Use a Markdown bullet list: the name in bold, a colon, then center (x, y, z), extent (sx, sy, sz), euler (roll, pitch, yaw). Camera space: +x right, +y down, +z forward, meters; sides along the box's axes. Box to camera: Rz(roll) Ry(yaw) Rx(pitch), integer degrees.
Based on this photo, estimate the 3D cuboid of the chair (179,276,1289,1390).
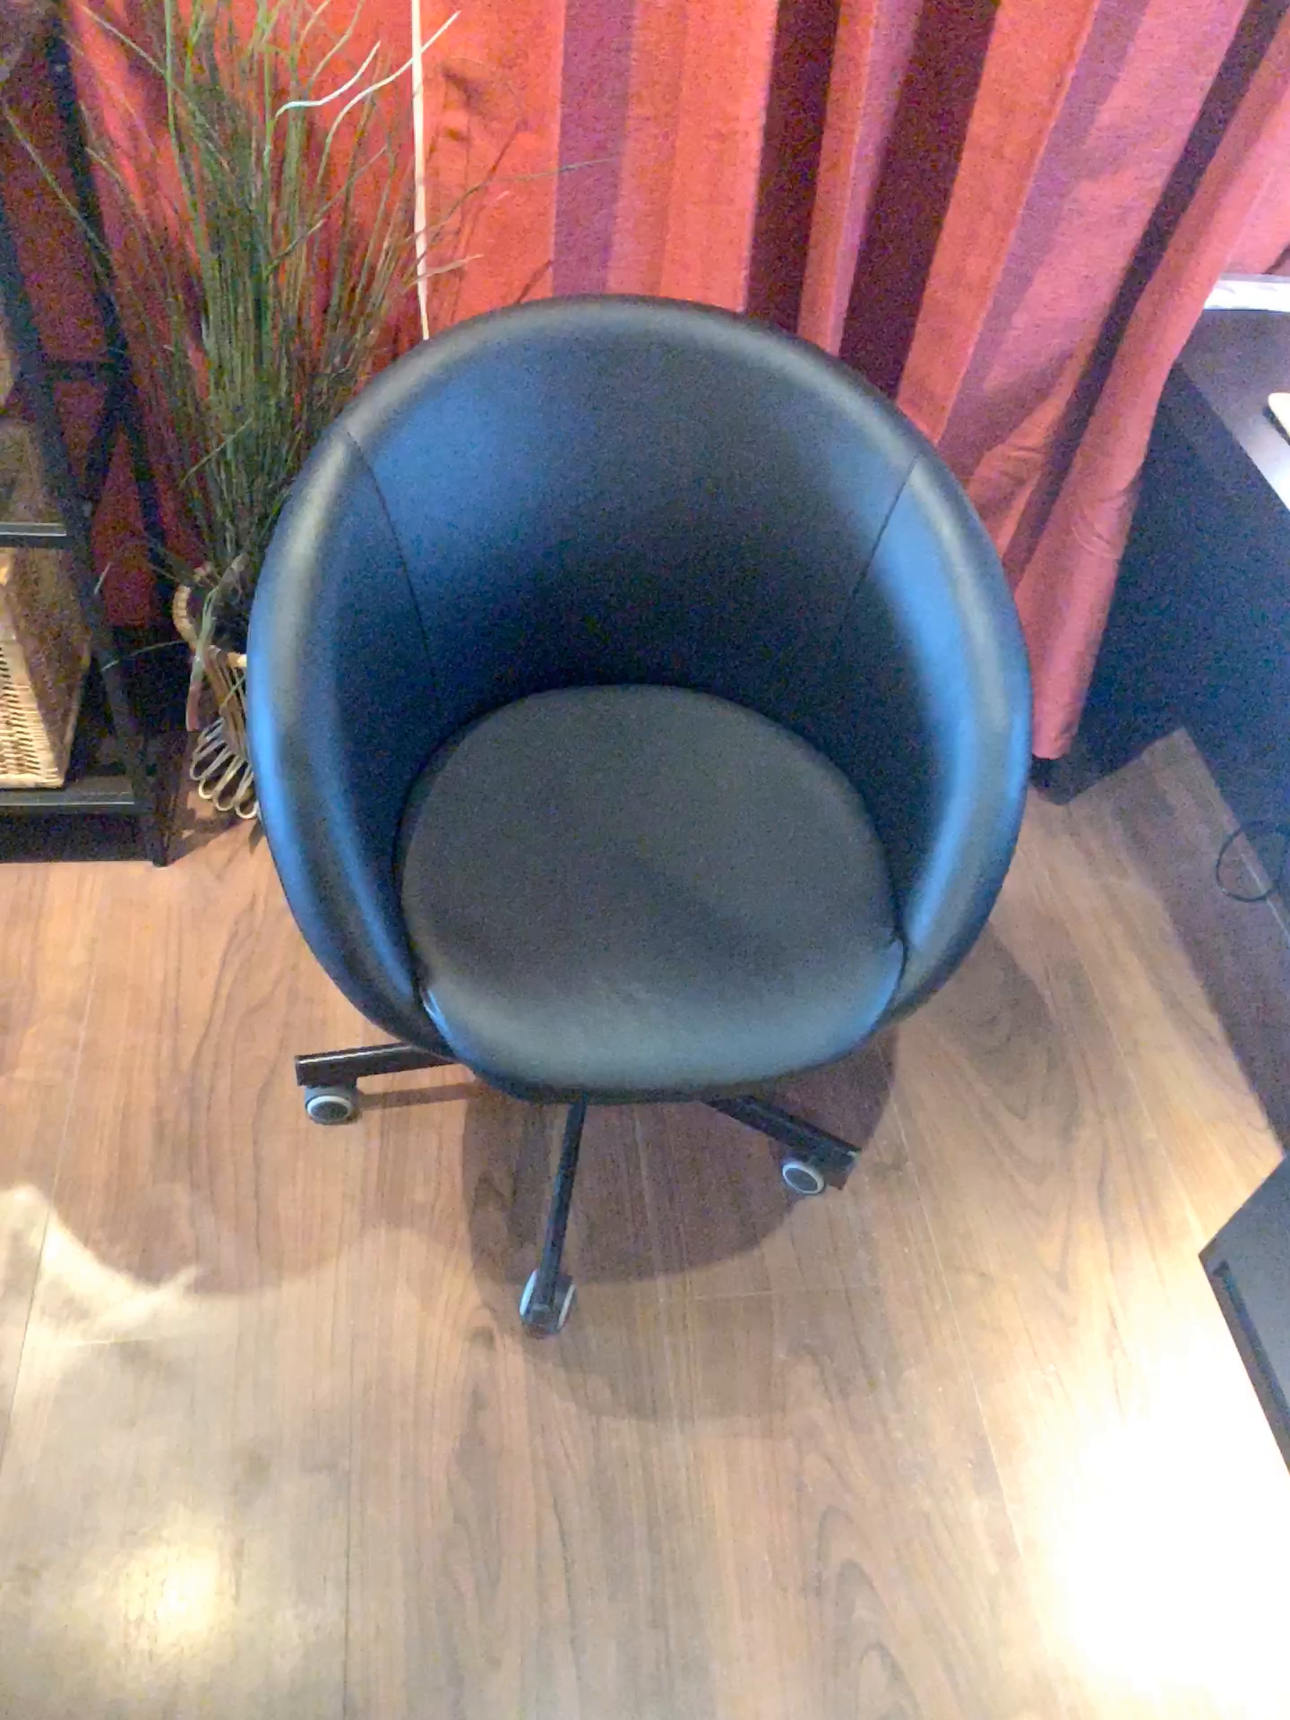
- **chair**: center (-0.017, -0.021, 1.130), extent (0.620, 0.698, 0.582), euler (-7, 50, -14)
